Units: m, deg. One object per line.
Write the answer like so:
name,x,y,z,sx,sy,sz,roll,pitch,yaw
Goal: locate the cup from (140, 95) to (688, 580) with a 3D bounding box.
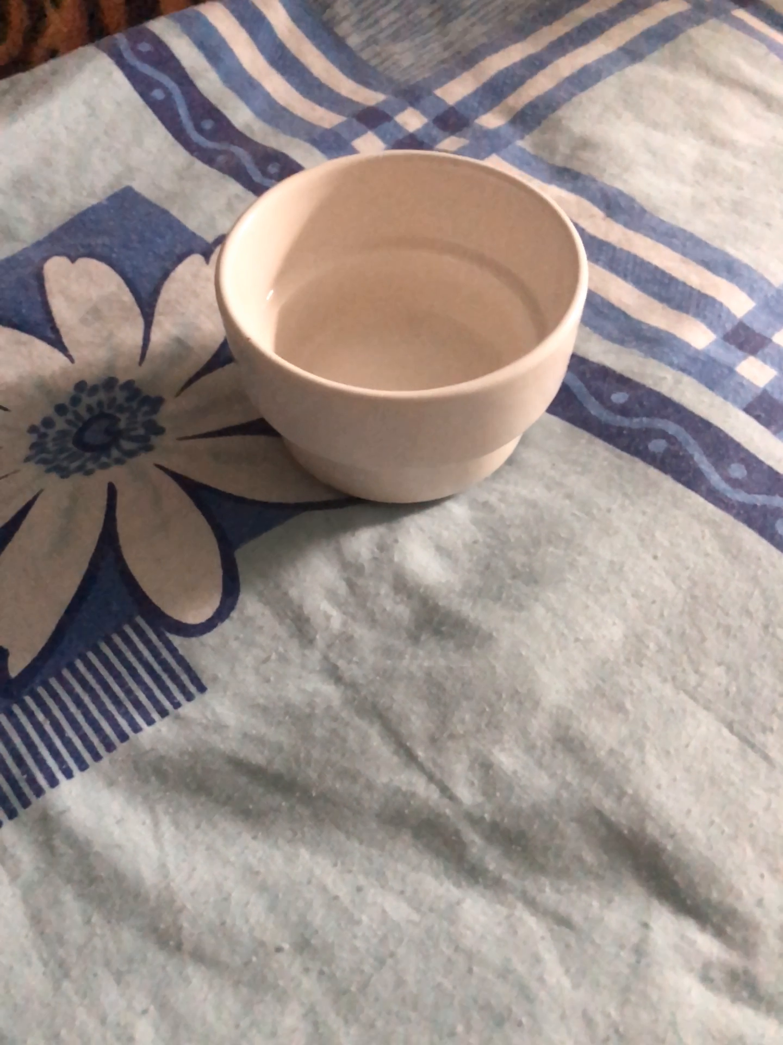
cup,0.003,-0.048,0.209,0.091,0.047,0.077,-28,62,-20
